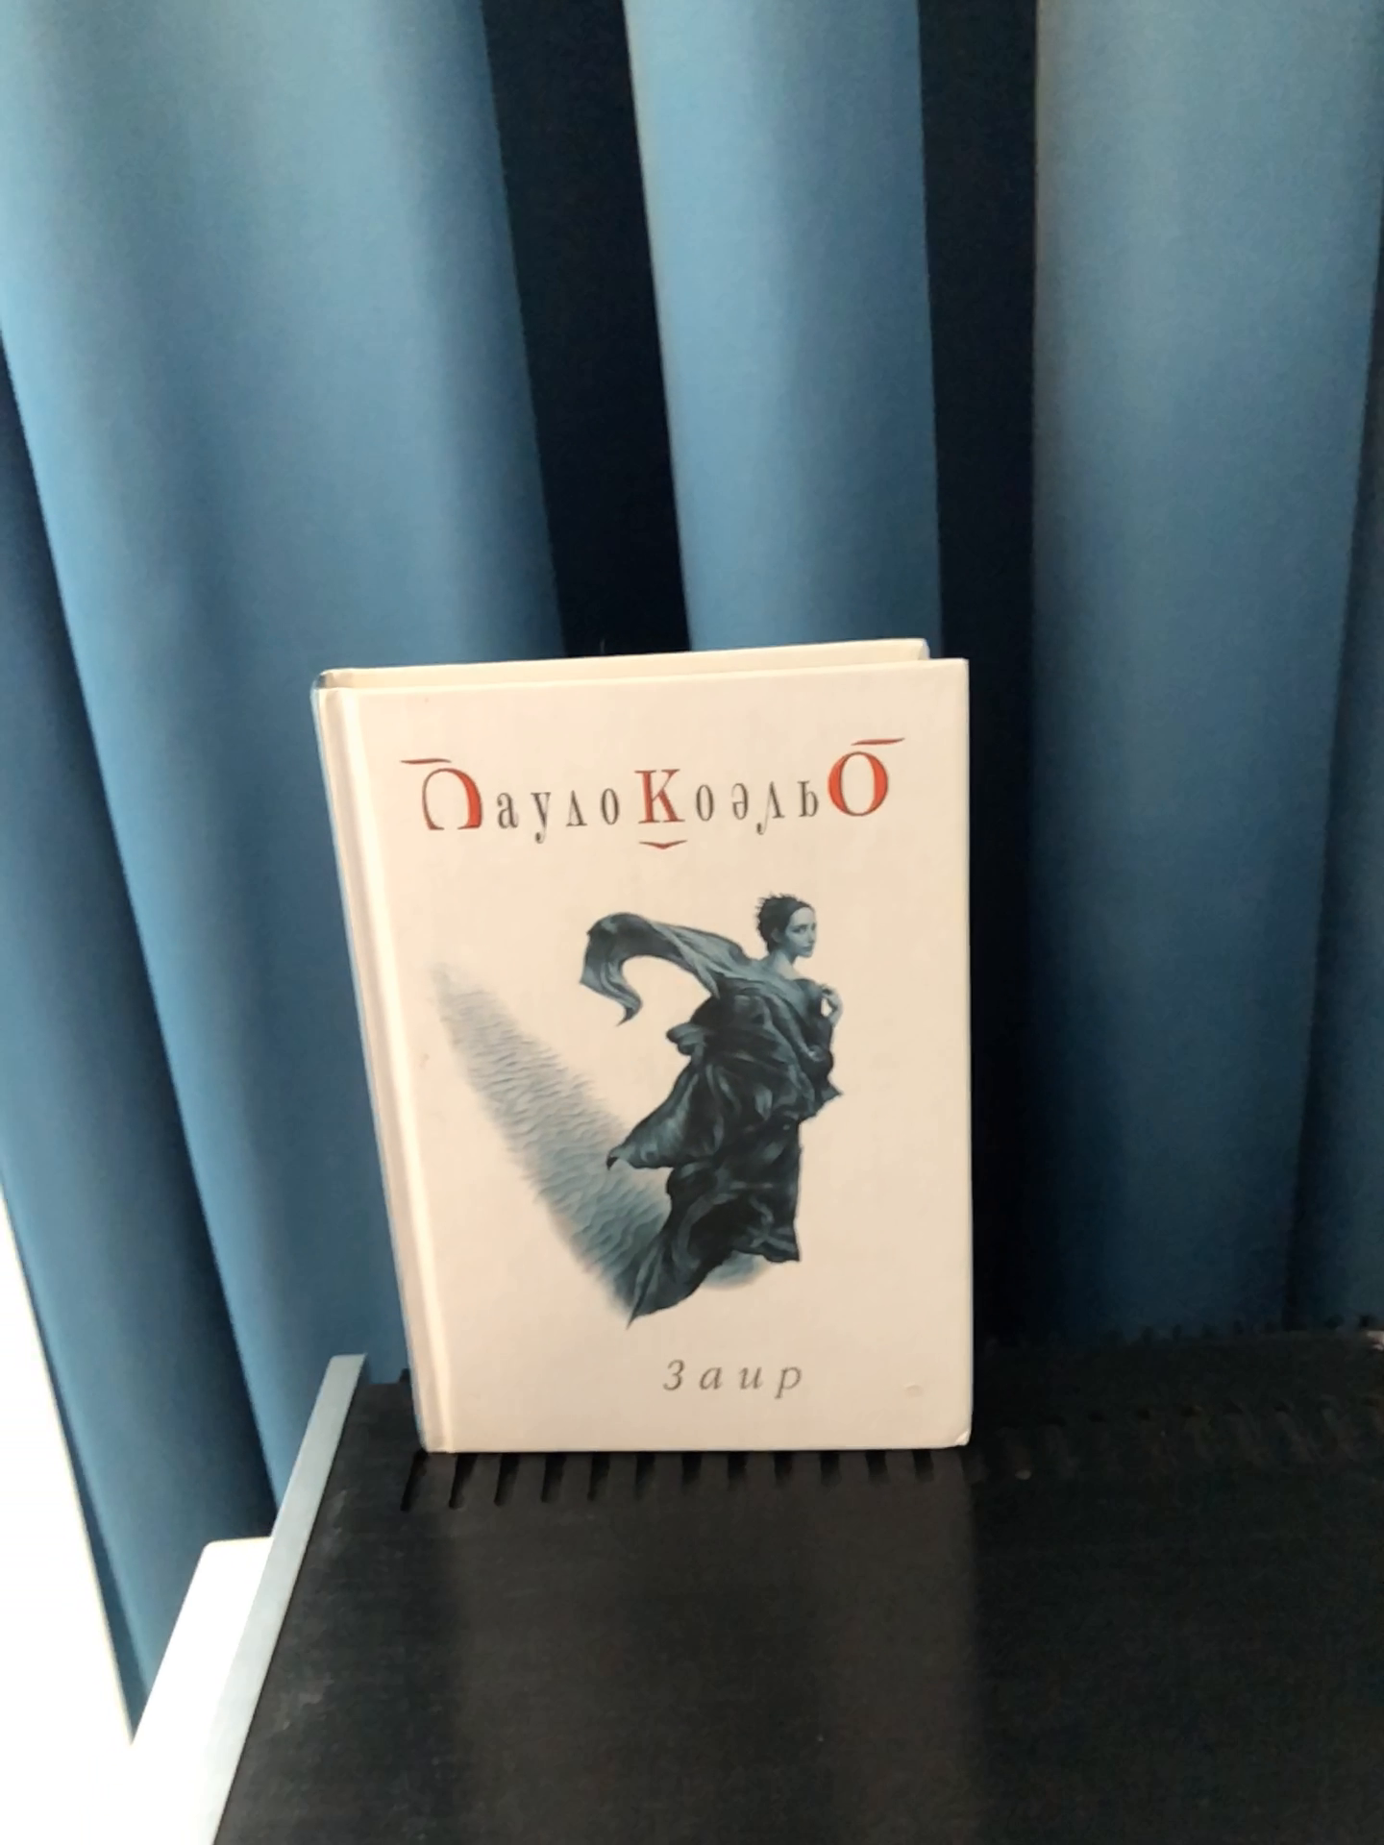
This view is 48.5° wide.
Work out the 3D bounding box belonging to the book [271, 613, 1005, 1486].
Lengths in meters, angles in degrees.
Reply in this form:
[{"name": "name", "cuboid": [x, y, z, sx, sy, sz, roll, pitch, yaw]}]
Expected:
[{"name": "book", "cuboid": [-0.004, 0.033, 0.317, 0.130, 0.179, 0.030, -3, 20, 6]}]
